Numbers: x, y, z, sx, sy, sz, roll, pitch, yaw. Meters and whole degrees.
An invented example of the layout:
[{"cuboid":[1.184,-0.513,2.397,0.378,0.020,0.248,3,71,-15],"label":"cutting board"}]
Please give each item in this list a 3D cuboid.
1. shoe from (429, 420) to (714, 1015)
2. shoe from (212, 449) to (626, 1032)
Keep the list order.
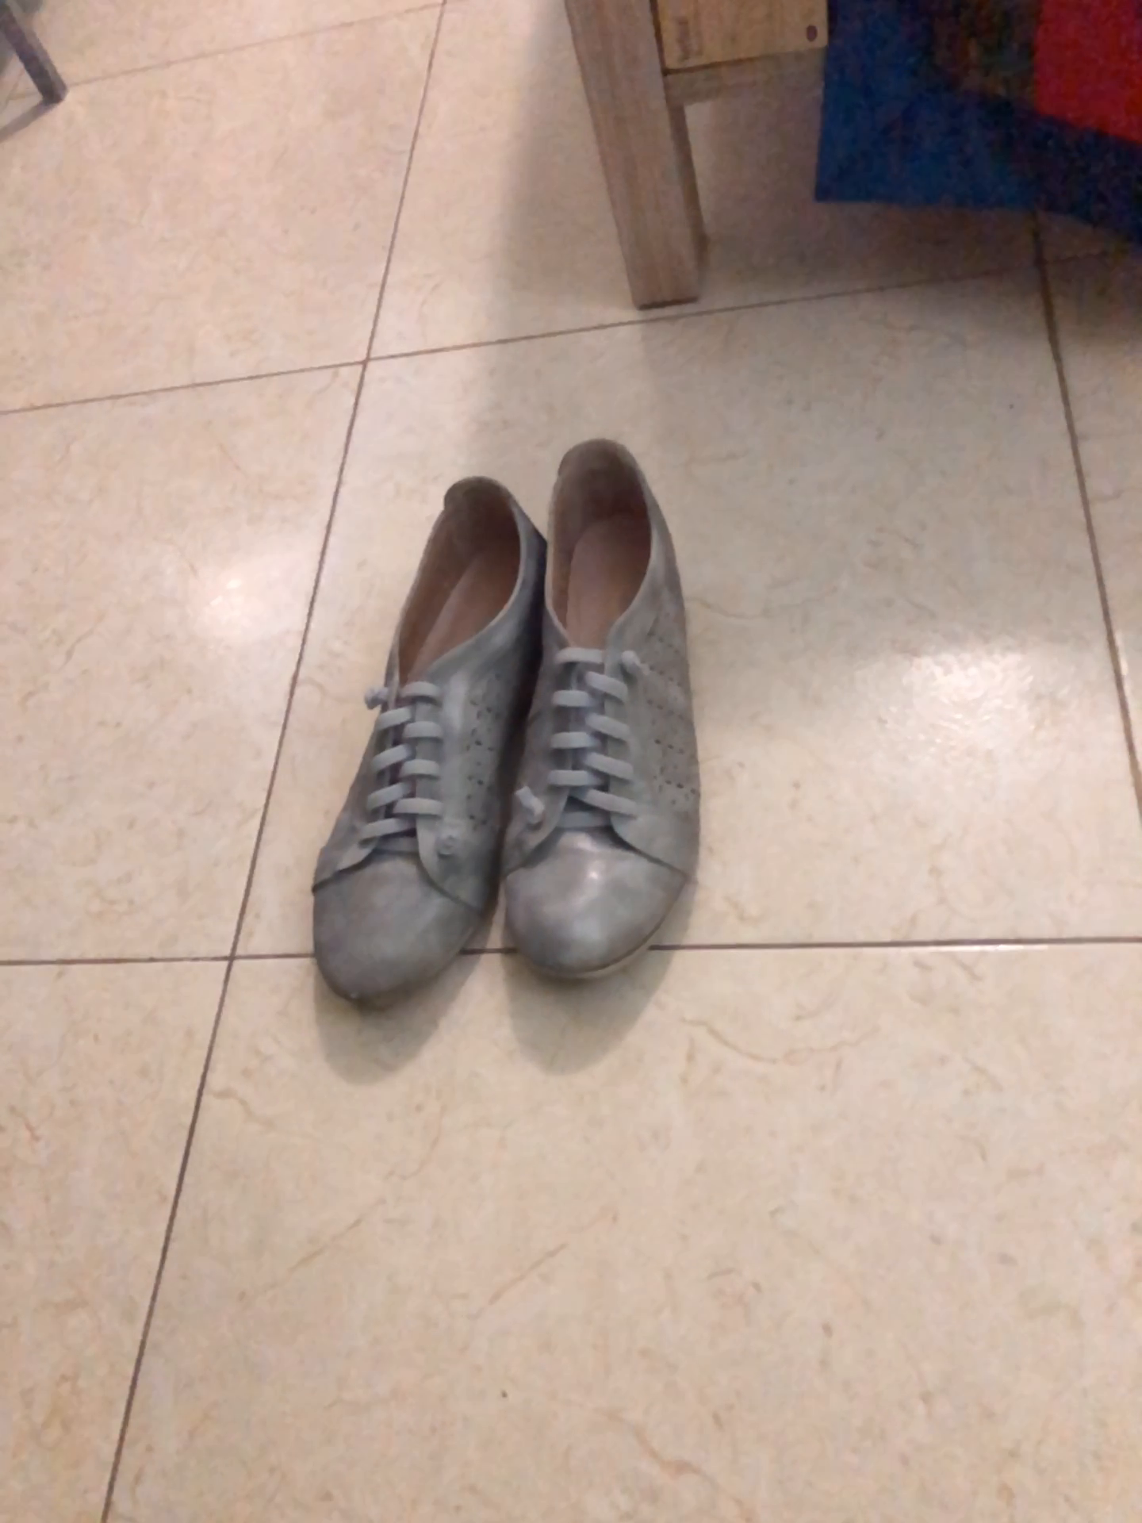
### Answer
[{"cuboid":[0.012,-0.028,0.637,0.100,0.100,0.291,-3,58,14],"label":"shoe"},{"cuboid":[-0.065,-0.021,0.662,0.100,0.100,0.290,7,61,20],"label":"shoe"}]
